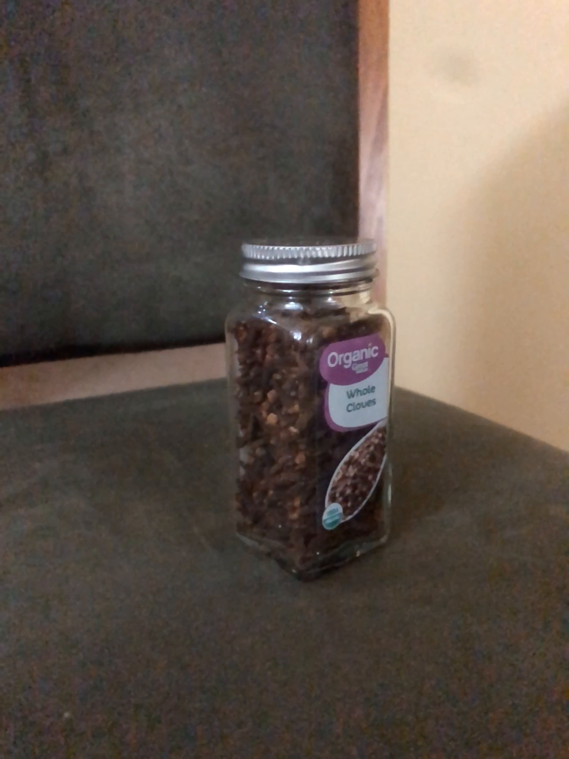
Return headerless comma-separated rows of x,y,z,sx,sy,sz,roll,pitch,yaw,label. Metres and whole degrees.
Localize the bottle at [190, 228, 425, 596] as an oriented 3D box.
0.007,0.005,0.206,0.050,0.100,0.050,-1,17,0,bottle
